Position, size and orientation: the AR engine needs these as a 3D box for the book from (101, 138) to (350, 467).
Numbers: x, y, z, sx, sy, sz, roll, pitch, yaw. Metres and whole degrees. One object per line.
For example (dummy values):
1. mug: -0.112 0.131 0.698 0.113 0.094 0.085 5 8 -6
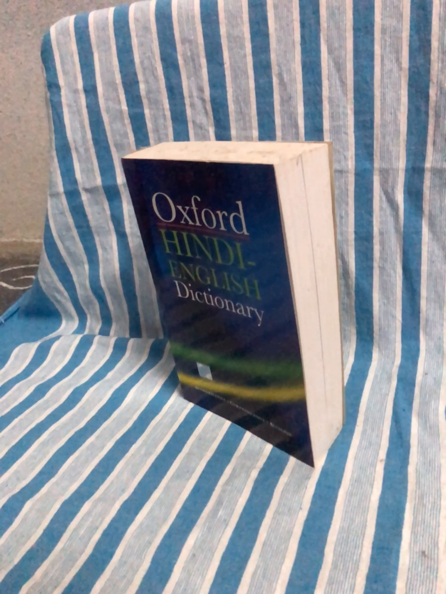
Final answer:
1. book: 0.006 0.000 0.337 0.140 0.199 0.050 16 39 40
